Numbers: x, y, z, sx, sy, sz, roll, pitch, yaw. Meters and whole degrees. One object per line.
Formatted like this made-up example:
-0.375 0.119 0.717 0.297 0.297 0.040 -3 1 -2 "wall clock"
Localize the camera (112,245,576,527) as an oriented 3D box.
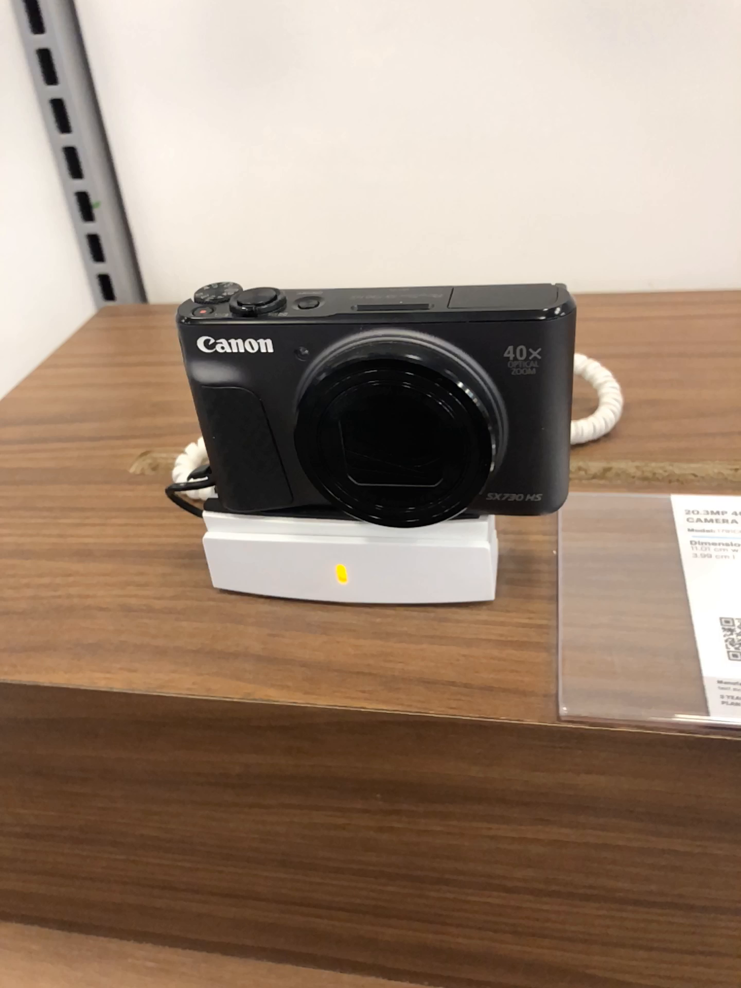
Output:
-0.004 -0.030 0.240 0.120 0.070 0.030 2 33 13 "camera"
